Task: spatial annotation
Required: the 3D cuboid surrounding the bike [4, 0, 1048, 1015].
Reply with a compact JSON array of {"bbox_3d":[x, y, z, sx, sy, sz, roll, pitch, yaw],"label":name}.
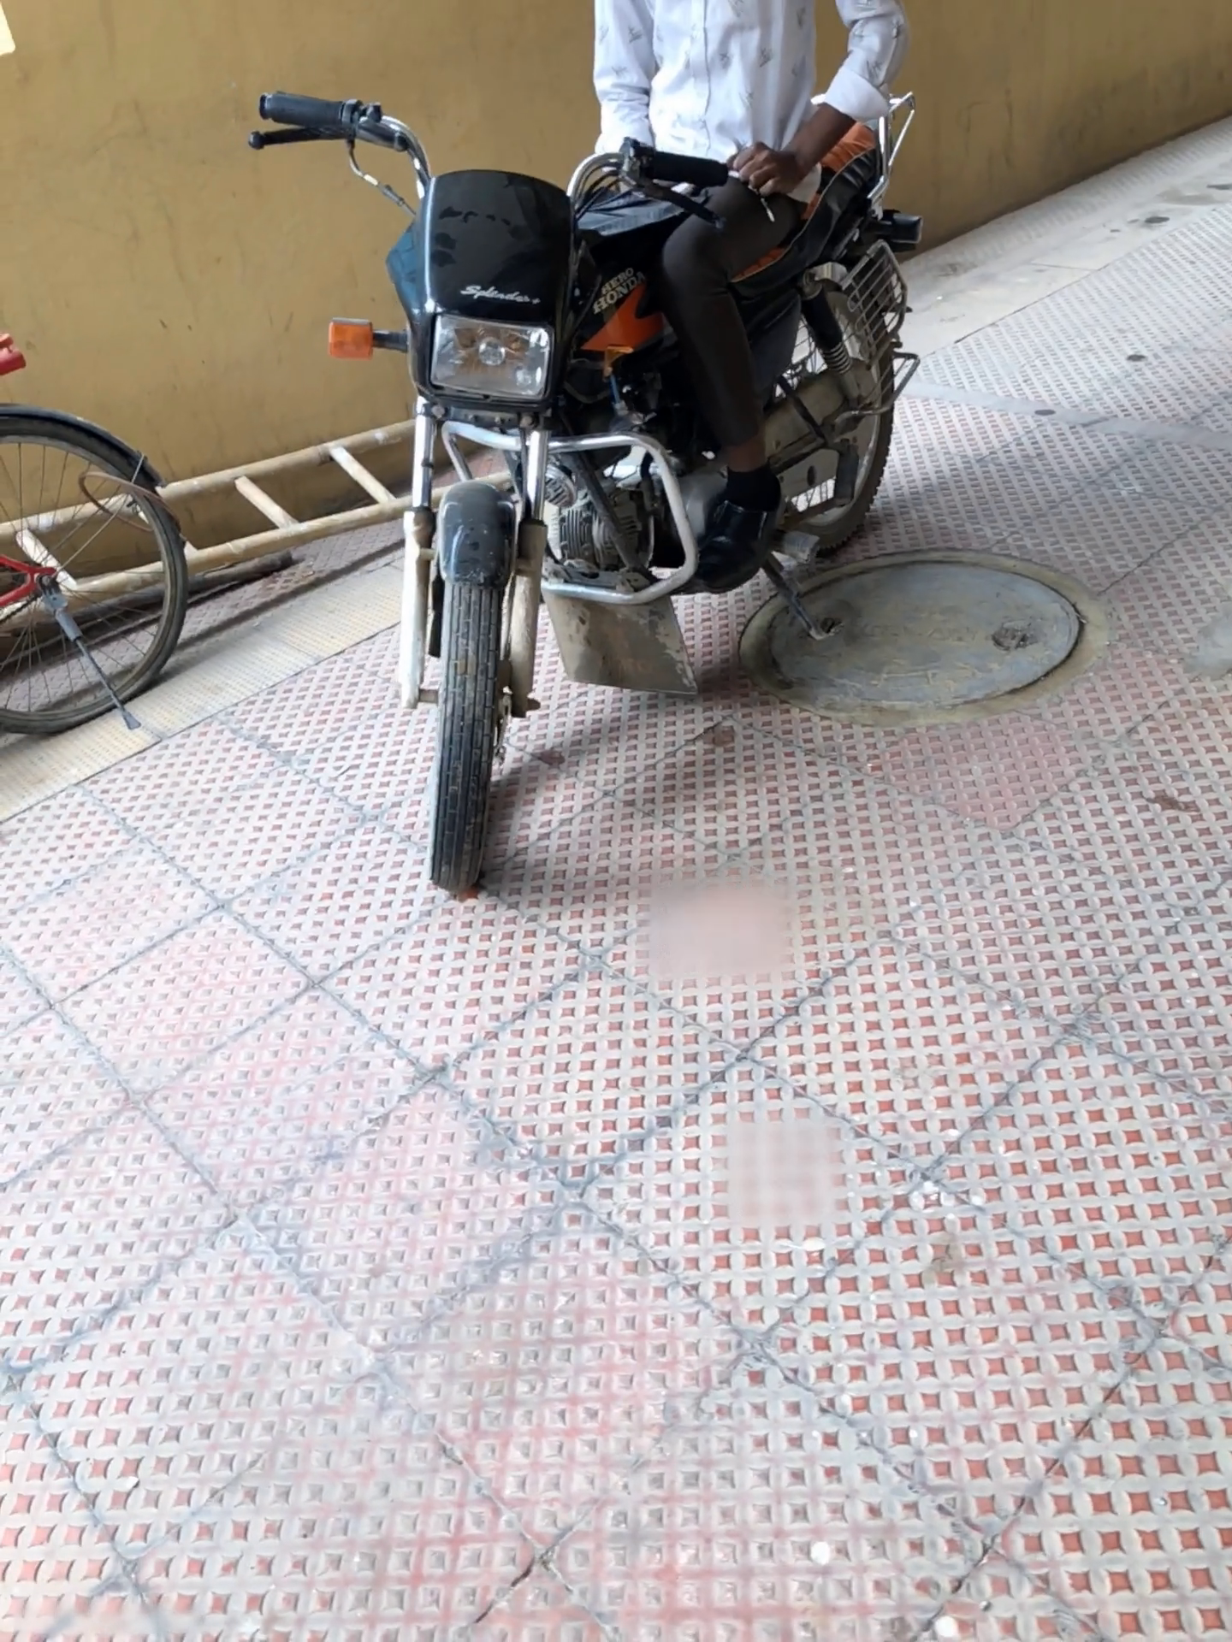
[{"bbox_3d":[0.065,-0.691,2.209,0.759,0.974,1.606,13,43,29],"label":"bike"}]
